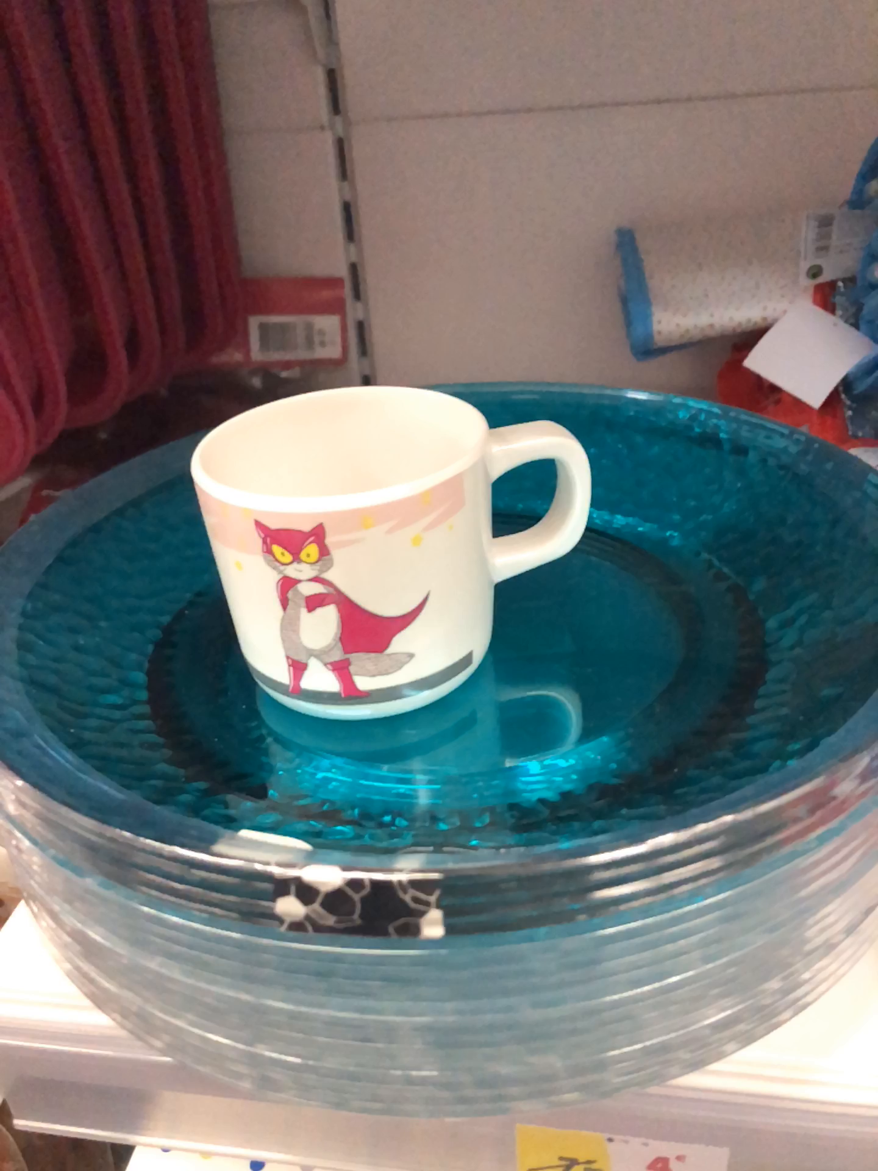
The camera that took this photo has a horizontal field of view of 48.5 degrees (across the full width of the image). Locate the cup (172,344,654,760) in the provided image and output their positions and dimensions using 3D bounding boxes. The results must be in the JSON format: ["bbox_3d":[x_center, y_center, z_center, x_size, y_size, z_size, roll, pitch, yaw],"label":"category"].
[{"bbox_3d":[-0.009,-0.015,0.259,0.102,0.064,0.075,-13,31,-15],"label":"cup"}]
